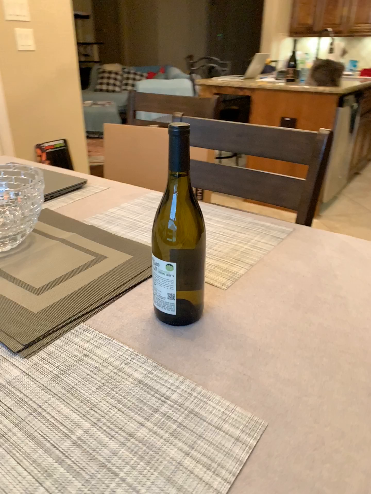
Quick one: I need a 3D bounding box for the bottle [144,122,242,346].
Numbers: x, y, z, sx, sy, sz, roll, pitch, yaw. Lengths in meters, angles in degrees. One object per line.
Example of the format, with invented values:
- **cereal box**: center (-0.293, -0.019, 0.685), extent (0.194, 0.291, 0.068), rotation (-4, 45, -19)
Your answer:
- **bottle**: center (0.006, -0.015, 0.530), extent (0.080, 0.289, 0.090), rotation (-20, 33, -35)
